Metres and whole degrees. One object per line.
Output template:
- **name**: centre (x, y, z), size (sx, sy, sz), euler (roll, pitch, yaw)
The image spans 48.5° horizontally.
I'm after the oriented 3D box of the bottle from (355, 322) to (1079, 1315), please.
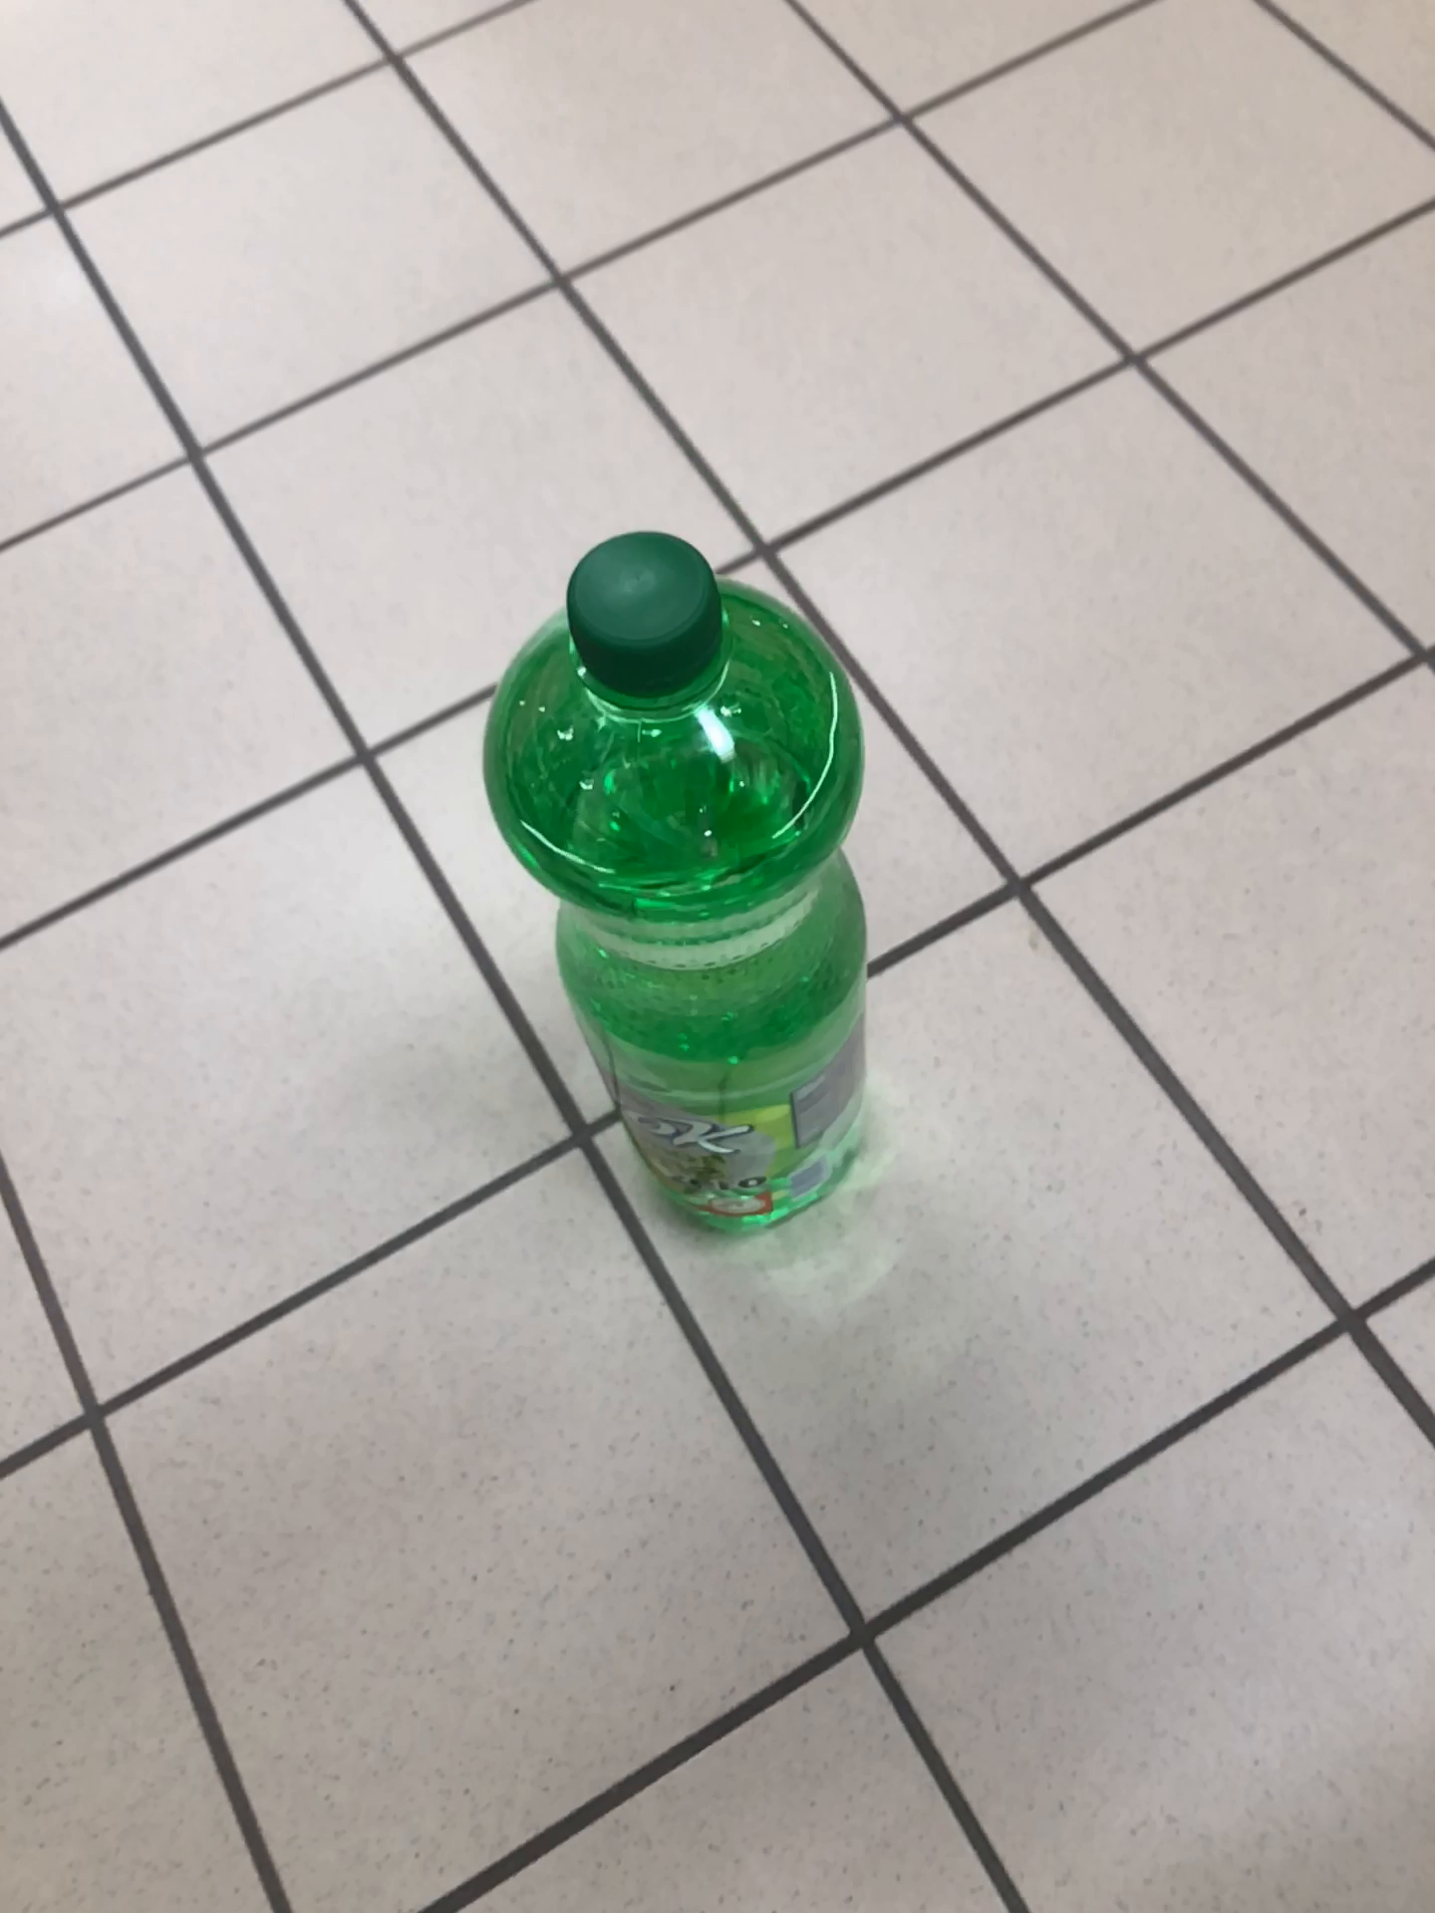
- **bottle**: centre (0.012, -0.004, 0.452), size (0.100, 0.319, 0.100), euler (-2, 65, 4)
